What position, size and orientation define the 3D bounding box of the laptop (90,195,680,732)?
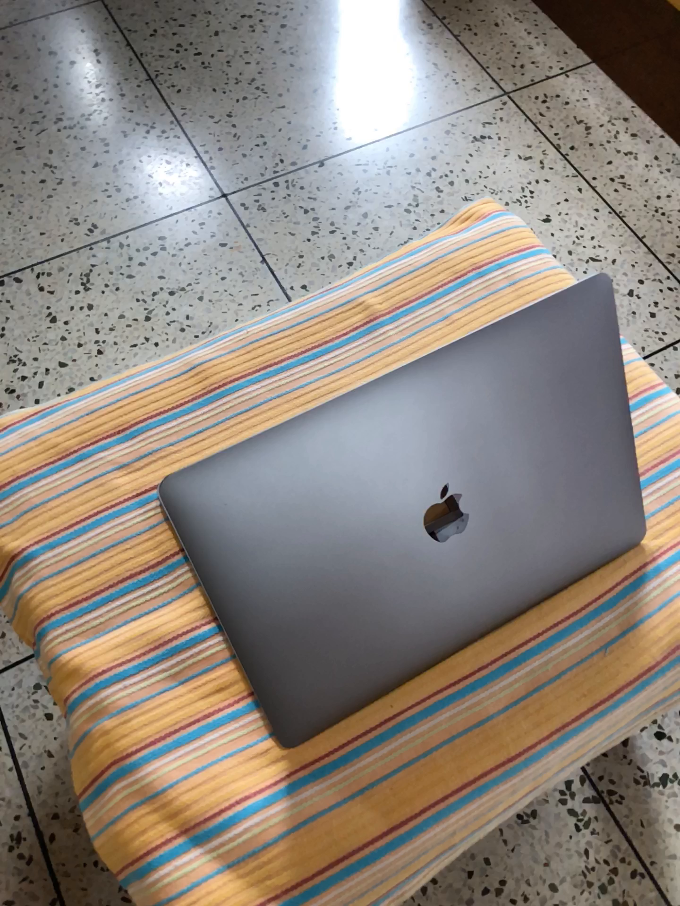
[{"bbox_3d":[0.035,0.006,0.488,0.294,0.160,0.204,-25,66,-13],"label":"laptop"}]
